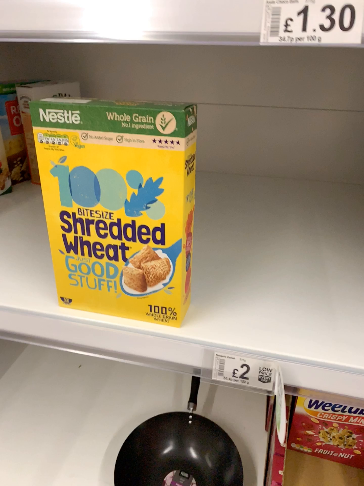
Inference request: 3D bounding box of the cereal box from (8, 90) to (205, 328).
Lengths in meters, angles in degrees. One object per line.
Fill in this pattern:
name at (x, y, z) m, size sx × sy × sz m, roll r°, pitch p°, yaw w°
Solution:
cereal box at (-0.087, -0.042, 0.487) m, size 0.210 × 0.278 × 0.071 m, roll 8°, pitch 27°, yaw 13°
